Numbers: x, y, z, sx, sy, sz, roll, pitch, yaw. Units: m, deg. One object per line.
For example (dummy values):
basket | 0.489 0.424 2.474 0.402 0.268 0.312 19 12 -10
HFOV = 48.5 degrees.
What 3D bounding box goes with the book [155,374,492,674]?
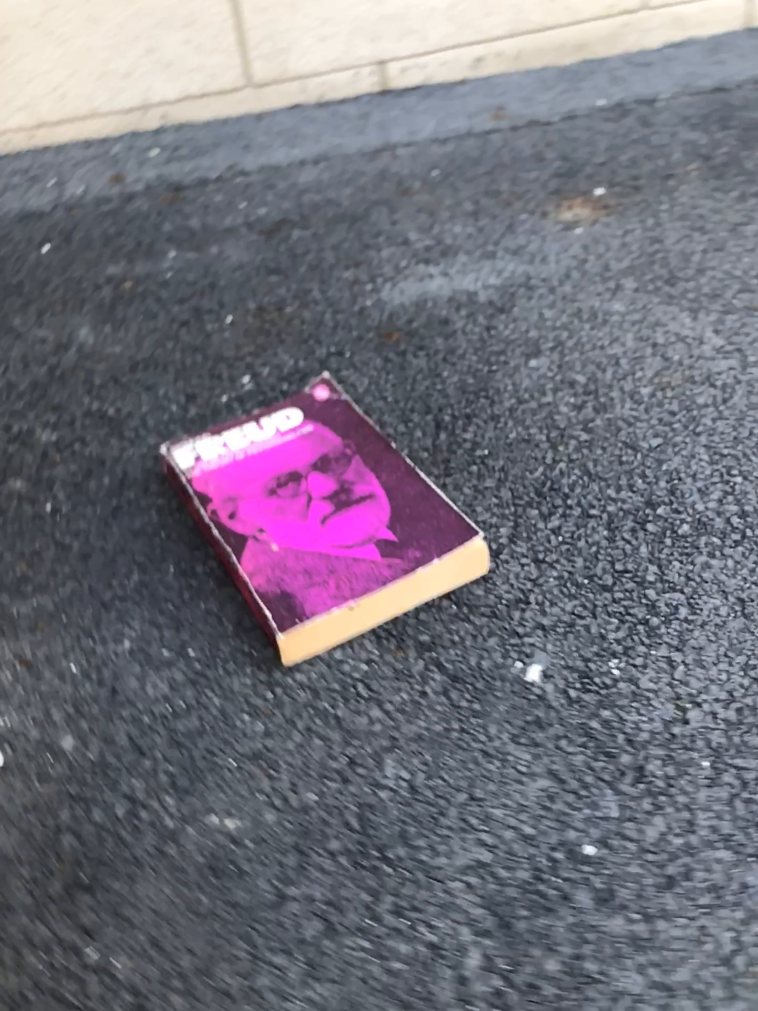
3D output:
book | -0.041 -0.003 0.511 0.131 0.031 0.195 -23 43 -18
